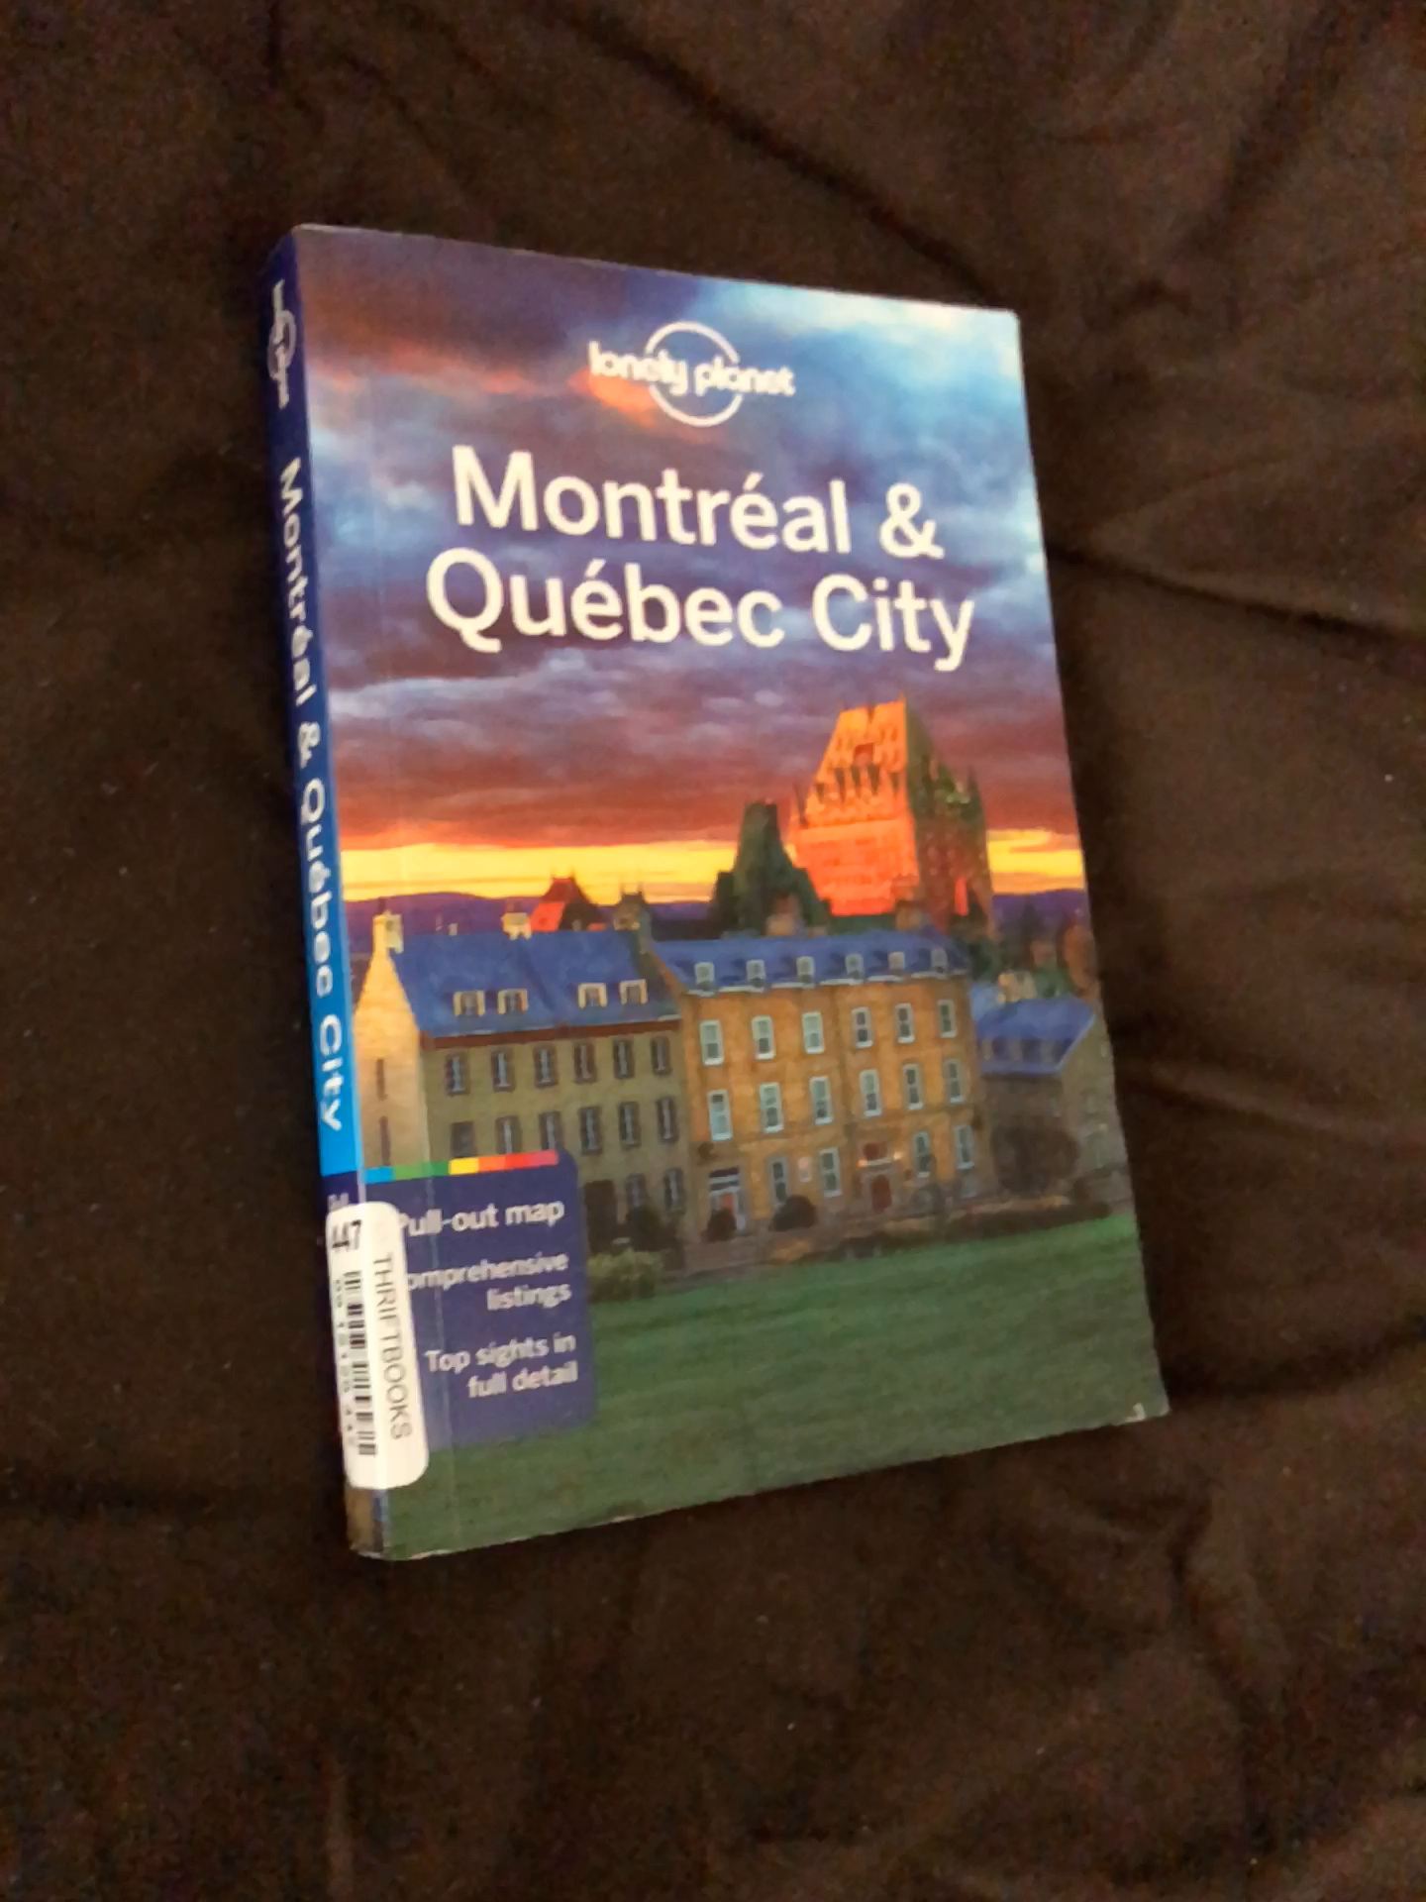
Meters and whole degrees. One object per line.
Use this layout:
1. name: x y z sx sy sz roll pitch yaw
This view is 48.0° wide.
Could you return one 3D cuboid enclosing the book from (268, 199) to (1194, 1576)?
1. book: 0.003 -0.016 0.269 0.138 0.024 0.205 -3 82 -21
